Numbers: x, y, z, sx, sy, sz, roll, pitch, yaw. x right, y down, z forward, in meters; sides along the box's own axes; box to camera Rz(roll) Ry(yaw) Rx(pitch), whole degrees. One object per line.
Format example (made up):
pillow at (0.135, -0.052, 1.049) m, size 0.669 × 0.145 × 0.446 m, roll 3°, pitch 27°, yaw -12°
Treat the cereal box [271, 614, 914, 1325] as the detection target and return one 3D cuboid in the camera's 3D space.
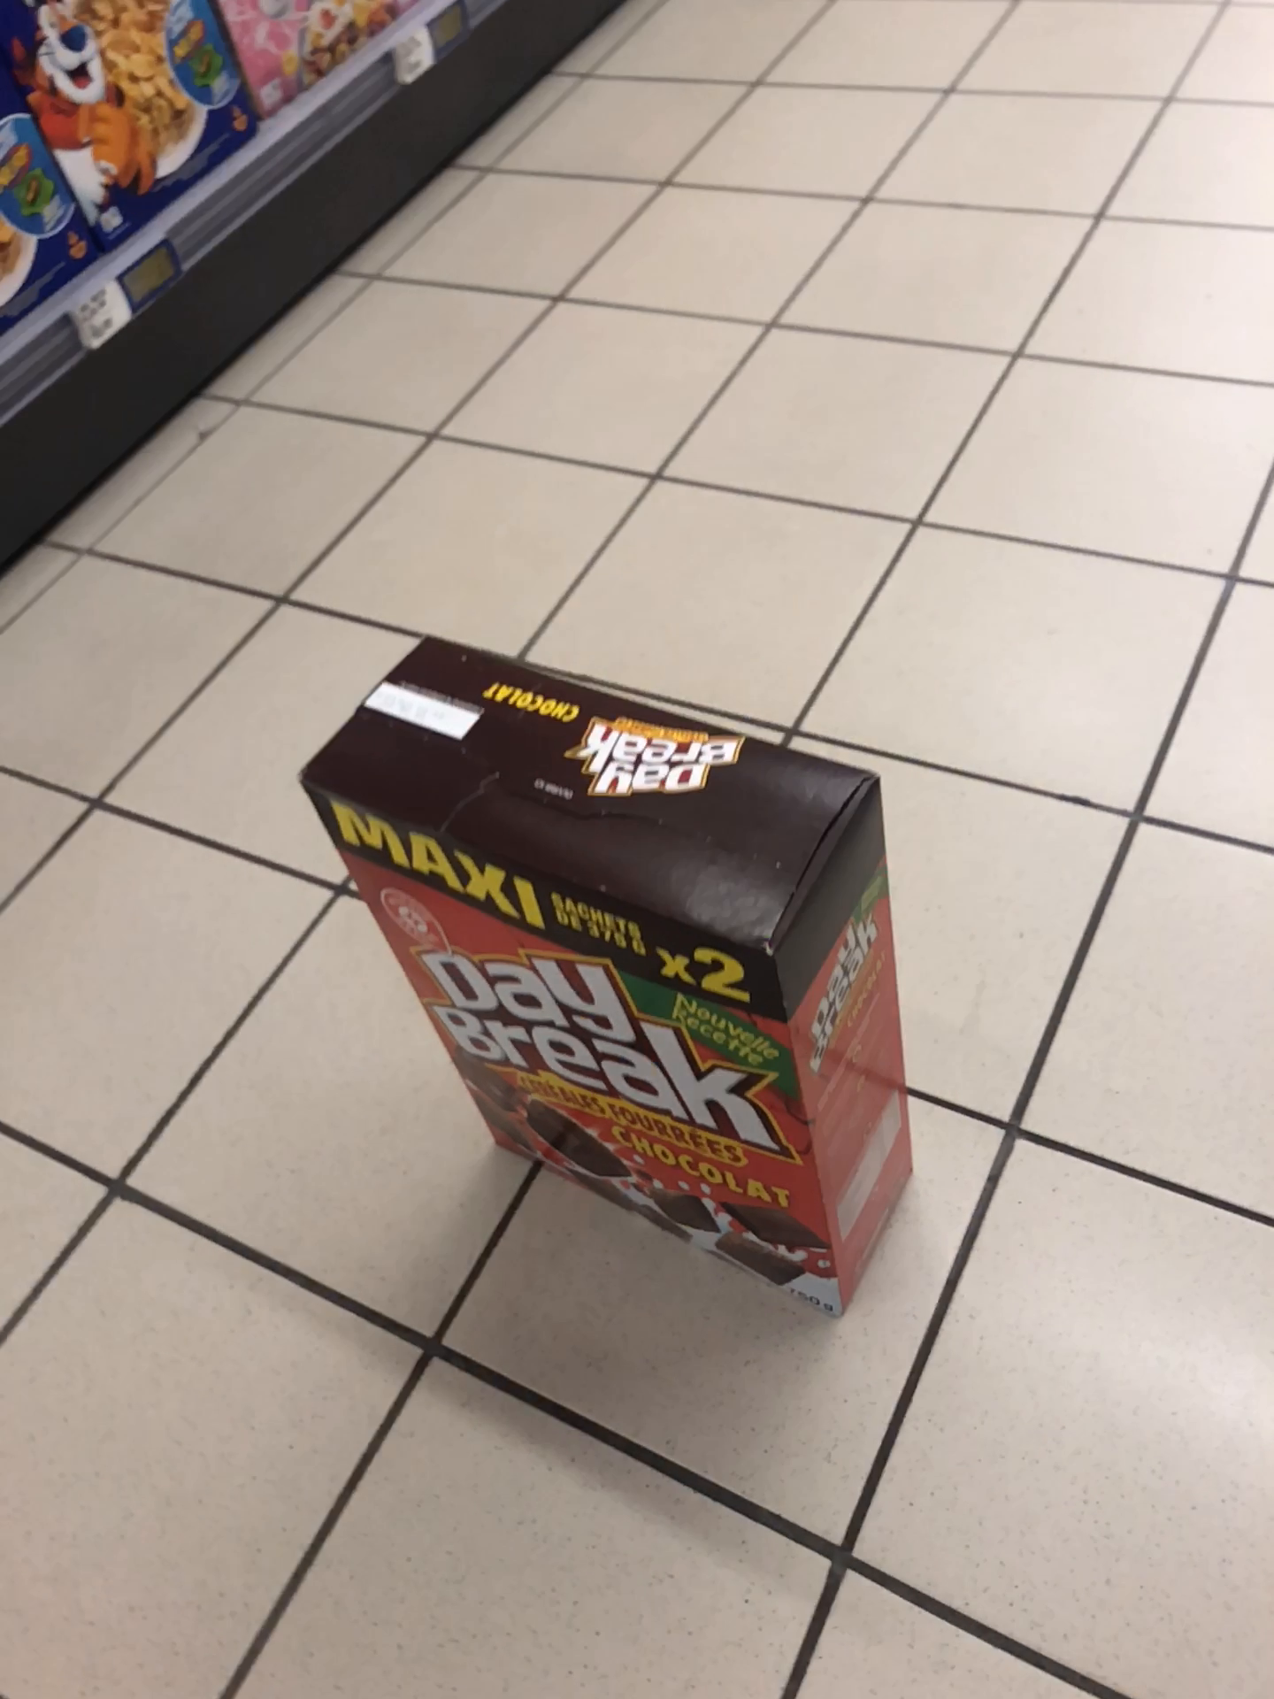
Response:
cereal box at (0.001, 0.060, 0.584) m, size 0.200 × 0.279 × 0.090 m, roll 20°, pitch 58°, yaw 26°
